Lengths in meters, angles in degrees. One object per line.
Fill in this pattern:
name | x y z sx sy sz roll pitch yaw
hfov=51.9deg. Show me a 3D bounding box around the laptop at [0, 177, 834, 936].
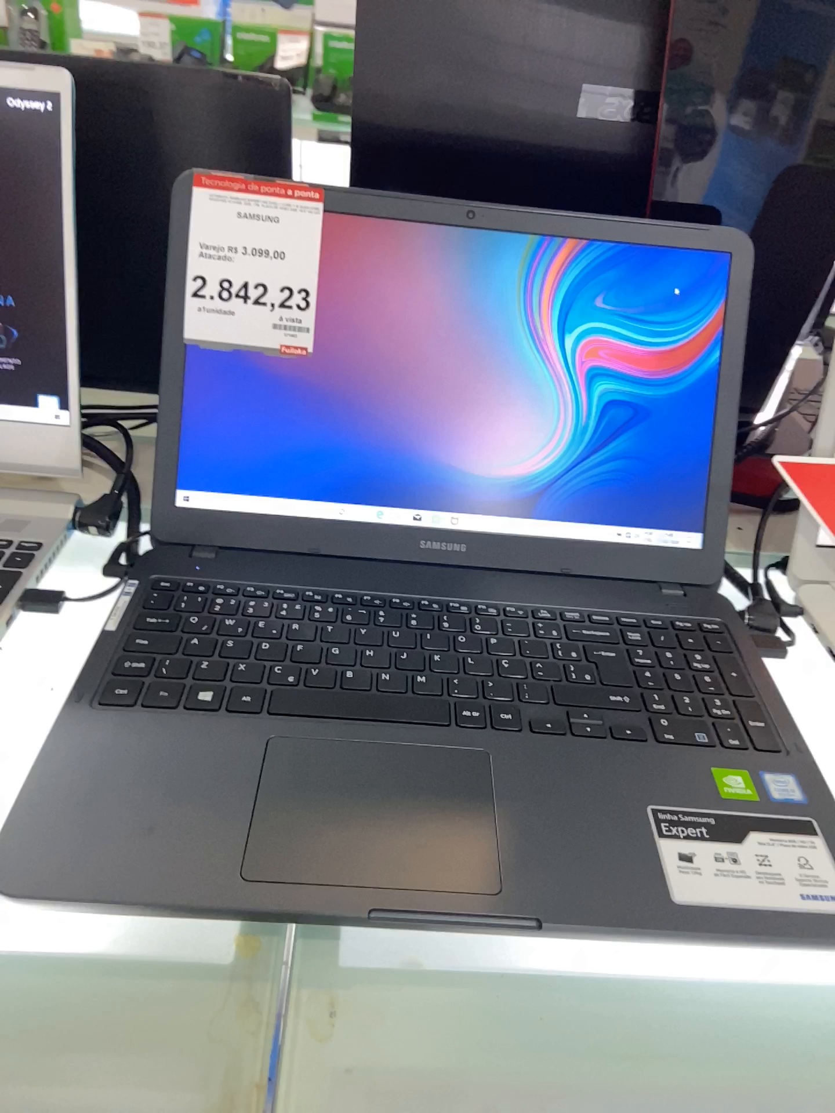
laptop | 0.025 -0.041 0.449 0.366 0.193 0.371 5 34 -3
